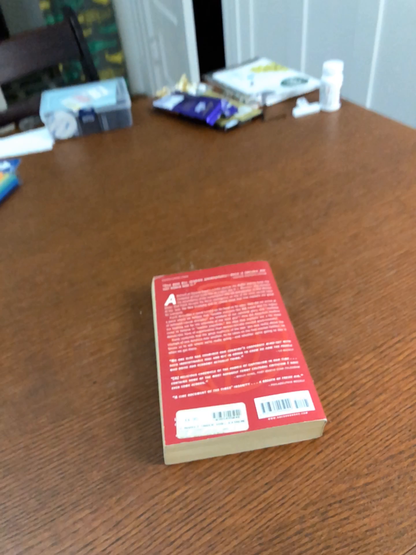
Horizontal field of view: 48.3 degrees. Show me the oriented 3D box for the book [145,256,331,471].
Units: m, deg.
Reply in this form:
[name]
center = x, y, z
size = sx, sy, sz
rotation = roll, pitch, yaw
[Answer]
[book]
center = 0.014, 0.066, 0.448
size = 0.140, 0.030, 0.211
rotation = -9, 42, -2
